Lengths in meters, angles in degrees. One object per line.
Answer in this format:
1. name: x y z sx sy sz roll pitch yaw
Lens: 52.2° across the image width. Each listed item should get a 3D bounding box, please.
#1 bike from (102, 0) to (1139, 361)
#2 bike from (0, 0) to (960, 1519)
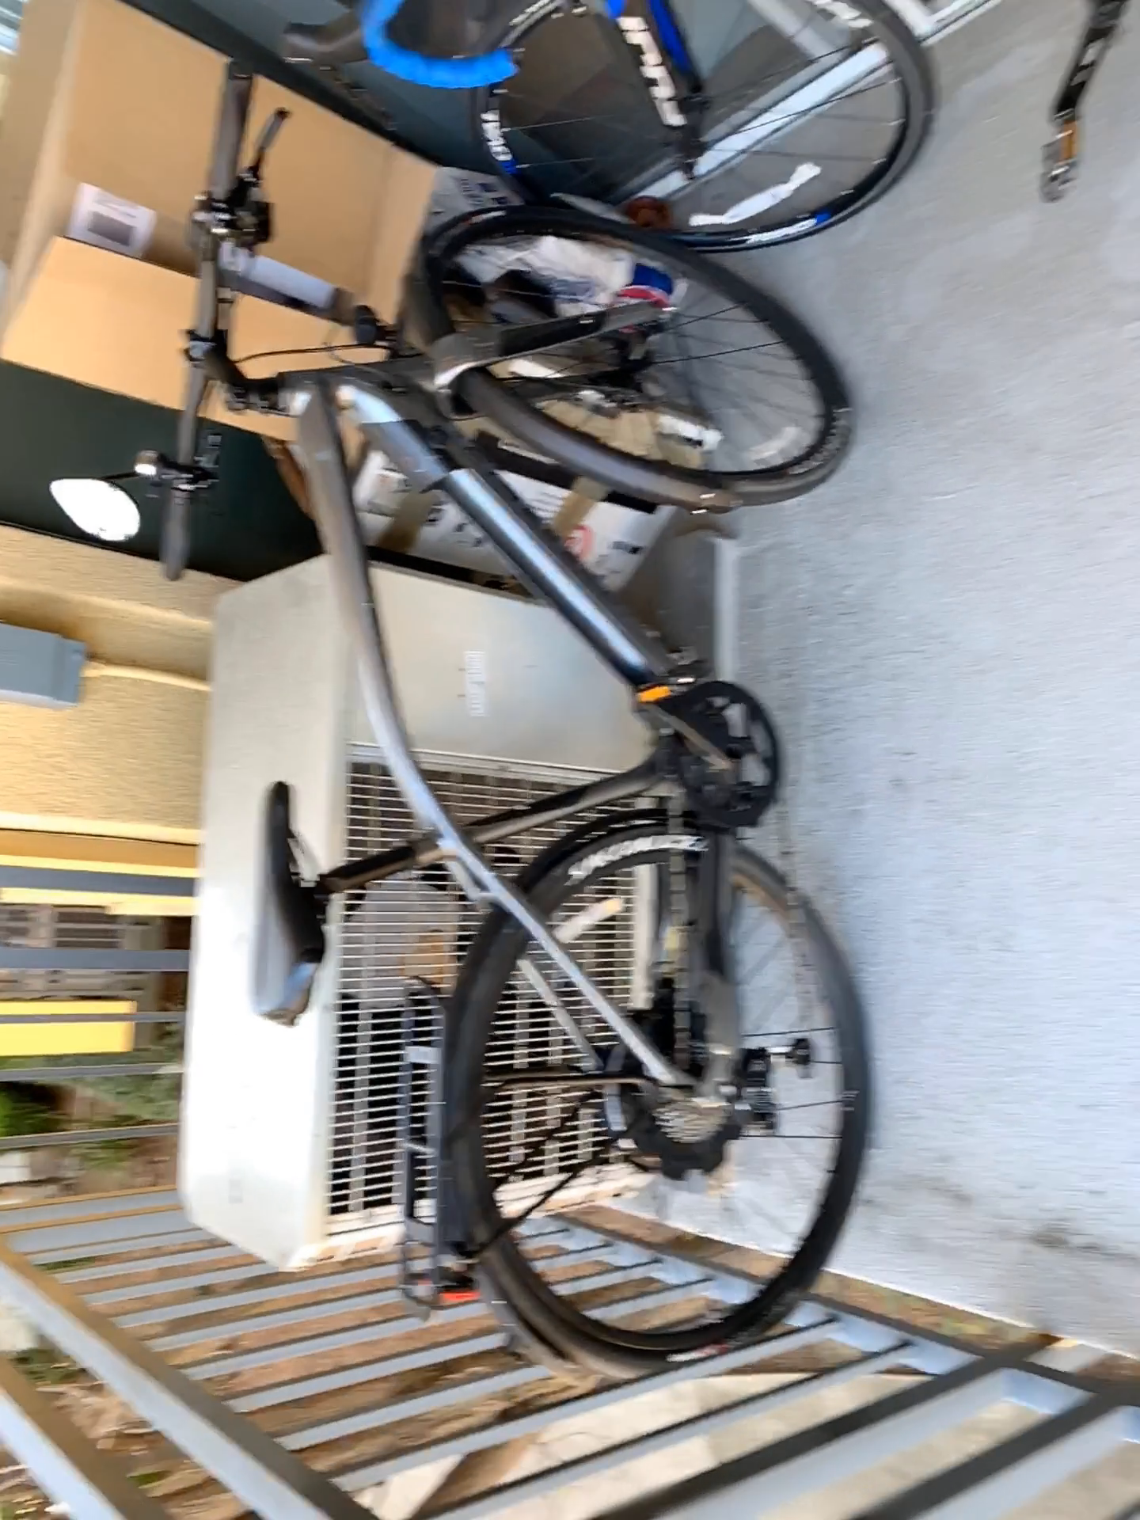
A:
1. bike: 0.378 -0.880 1.127 1.514 0.929 0.362 1 84 45
2. bike: -0.136 -0.061 1.556 0.627 0.968 1.582 -19 68 46
